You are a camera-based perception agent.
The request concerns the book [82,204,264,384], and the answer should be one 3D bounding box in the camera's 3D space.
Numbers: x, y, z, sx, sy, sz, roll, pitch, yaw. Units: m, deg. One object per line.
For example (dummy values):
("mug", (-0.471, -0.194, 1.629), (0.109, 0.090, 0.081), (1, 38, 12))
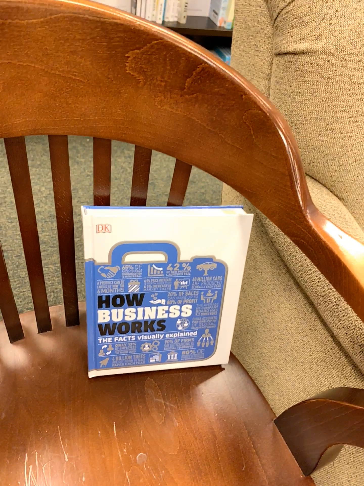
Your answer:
("book", (-0.021, 0.072, 0.498), (0.211, 0.246, 0.039), (-1, 27, -14))
